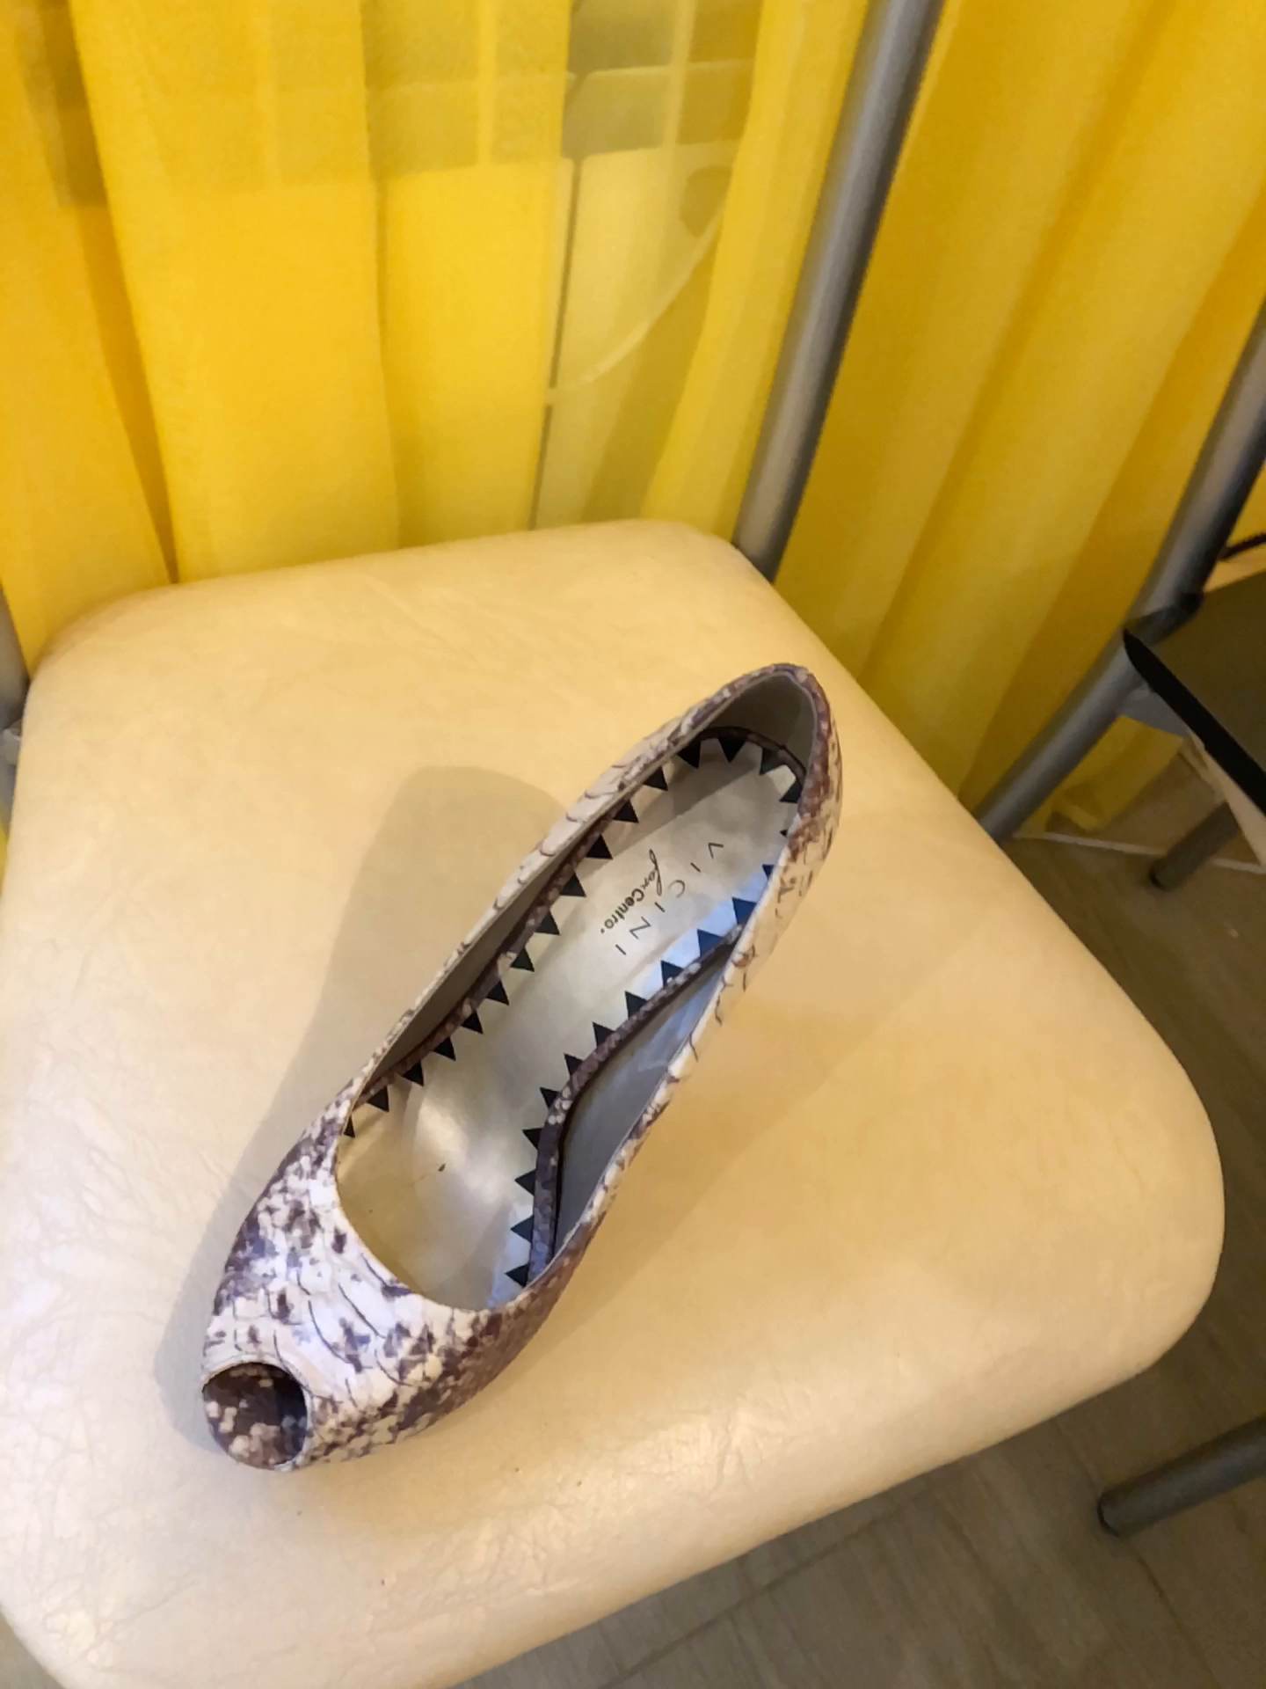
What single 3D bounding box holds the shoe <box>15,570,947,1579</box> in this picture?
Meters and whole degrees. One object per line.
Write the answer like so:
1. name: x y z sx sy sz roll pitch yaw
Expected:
1. shoe: -0.027 0.051 0.336 0.080 0.129 0.201 35 55 13
